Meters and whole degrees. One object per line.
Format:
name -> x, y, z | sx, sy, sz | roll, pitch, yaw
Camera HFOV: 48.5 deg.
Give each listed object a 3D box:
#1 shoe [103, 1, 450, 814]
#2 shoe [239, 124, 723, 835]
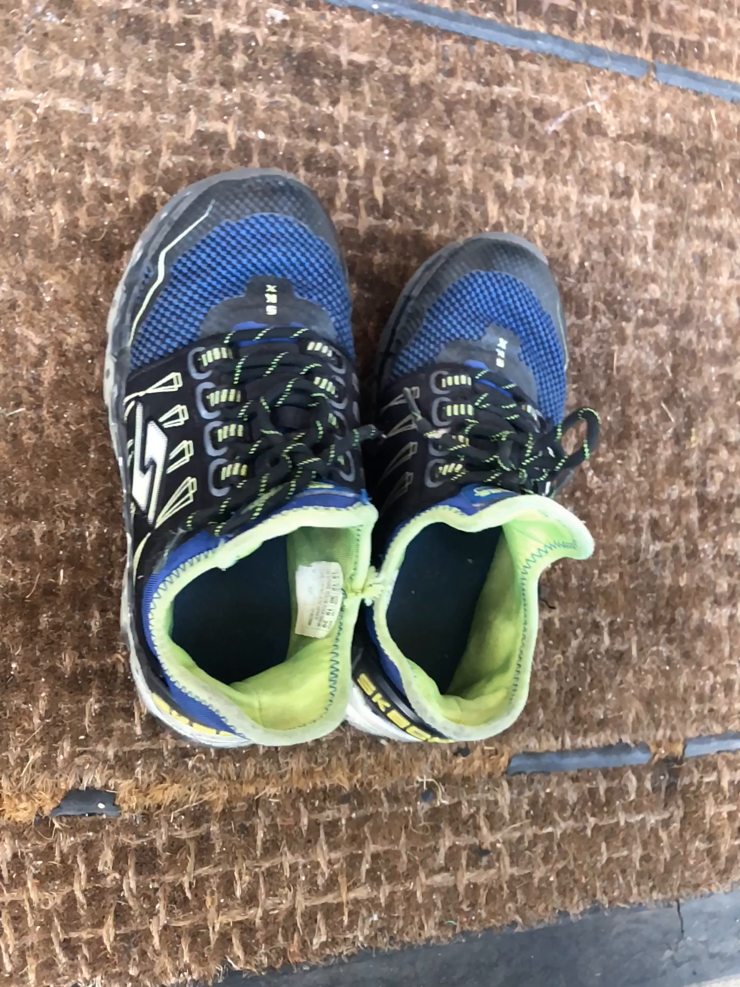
shoe -> -0.041, -0.026, 0.292 | 0.090, 0.100, 0.230 | -3, 88, -19
shoe -> 0.035, -0.003, 0.299 | 0.090, 0.100, 0.200 | 20, 81, -17
